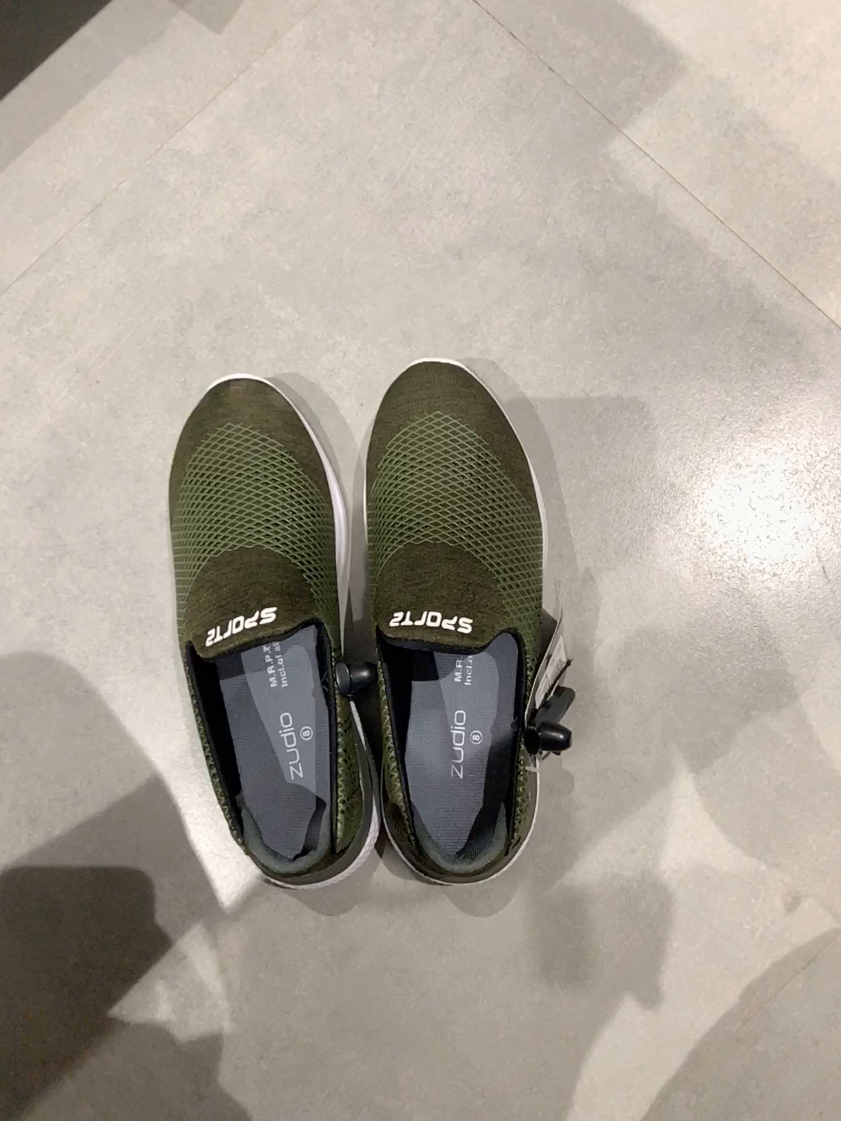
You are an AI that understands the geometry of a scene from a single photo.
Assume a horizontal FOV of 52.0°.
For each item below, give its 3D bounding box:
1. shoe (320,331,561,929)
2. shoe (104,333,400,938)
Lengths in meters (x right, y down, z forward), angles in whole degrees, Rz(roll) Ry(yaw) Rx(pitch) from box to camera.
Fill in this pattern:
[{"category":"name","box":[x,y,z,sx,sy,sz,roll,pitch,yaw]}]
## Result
[{"category":"shoe","box":[0.011,0.035,0.462,0.100,0.100,0.280,-4,83,5]},{"category":"shoe","box":[-0.086,0.037,0.467,0.100,0.100,0.280,-9,83,4]}]
